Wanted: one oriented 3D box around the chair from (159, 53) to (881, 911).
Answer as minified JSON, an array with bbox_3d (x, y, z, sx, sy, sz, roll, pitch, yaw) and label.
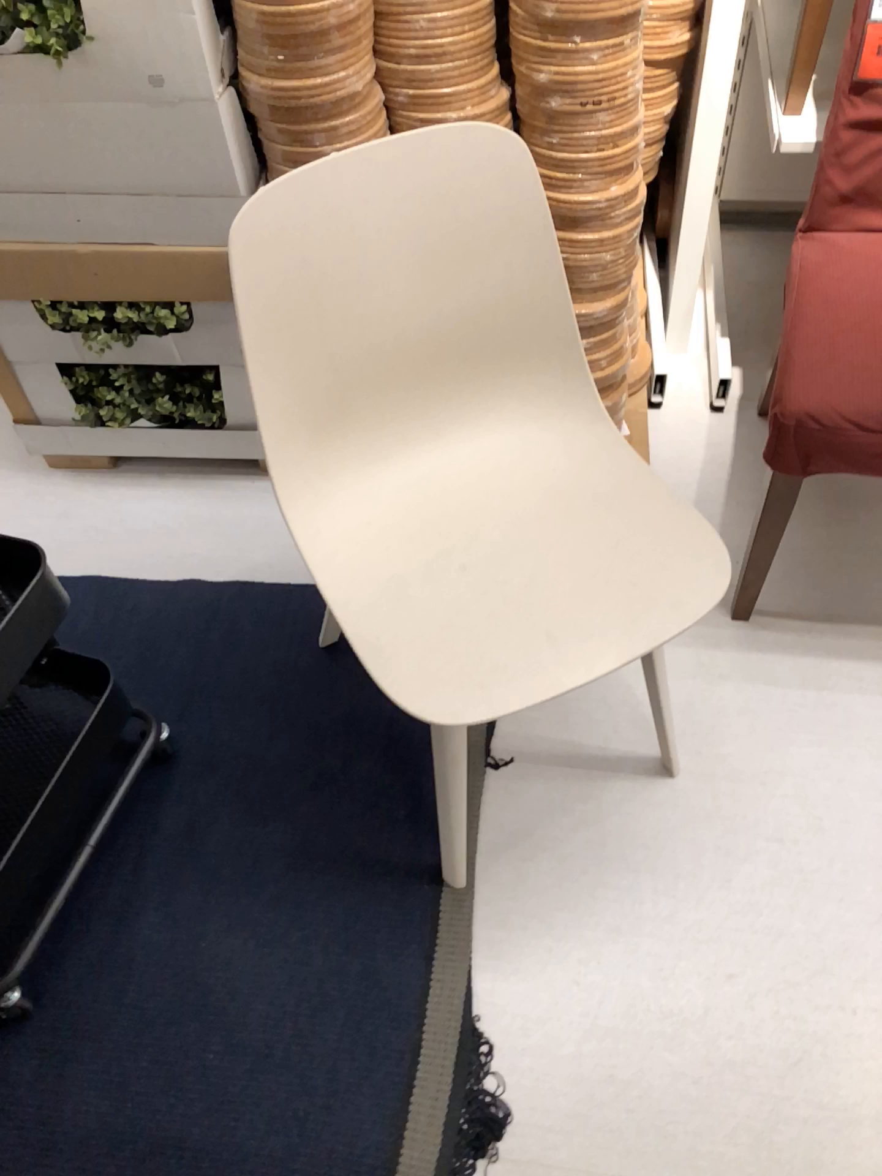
[{"bbox_3d":[0.081,-0.077,1.083,0.450,0.696,0.492,-25,55,-12],"label":"chair"}]
